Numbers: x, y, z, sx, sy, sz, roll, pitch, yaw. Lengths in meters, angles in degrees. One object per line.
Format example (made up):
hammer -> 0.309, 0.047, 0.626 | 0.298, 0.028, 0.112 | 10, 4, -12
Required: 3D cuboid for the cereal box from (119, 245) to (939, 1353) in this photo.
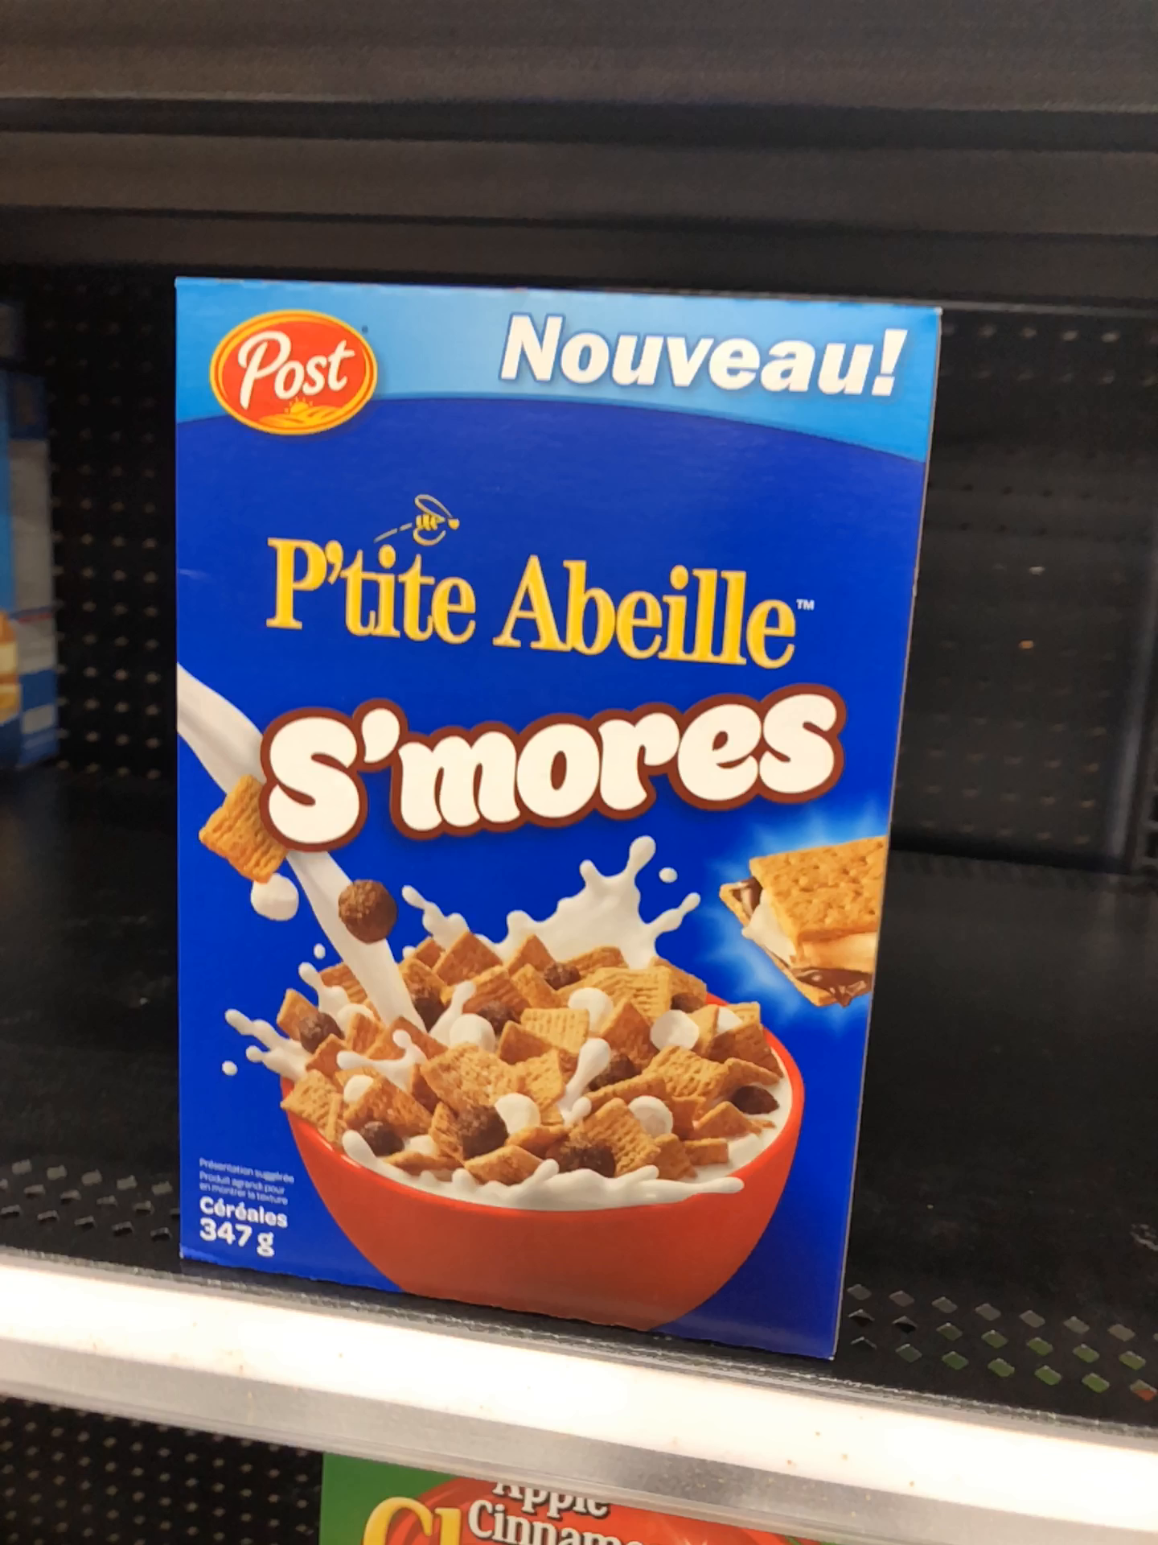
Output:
cereal box -> -0.019, 0.007, 0.364 | 0.200, 0.279, 0.060 | 5, 11, 7
